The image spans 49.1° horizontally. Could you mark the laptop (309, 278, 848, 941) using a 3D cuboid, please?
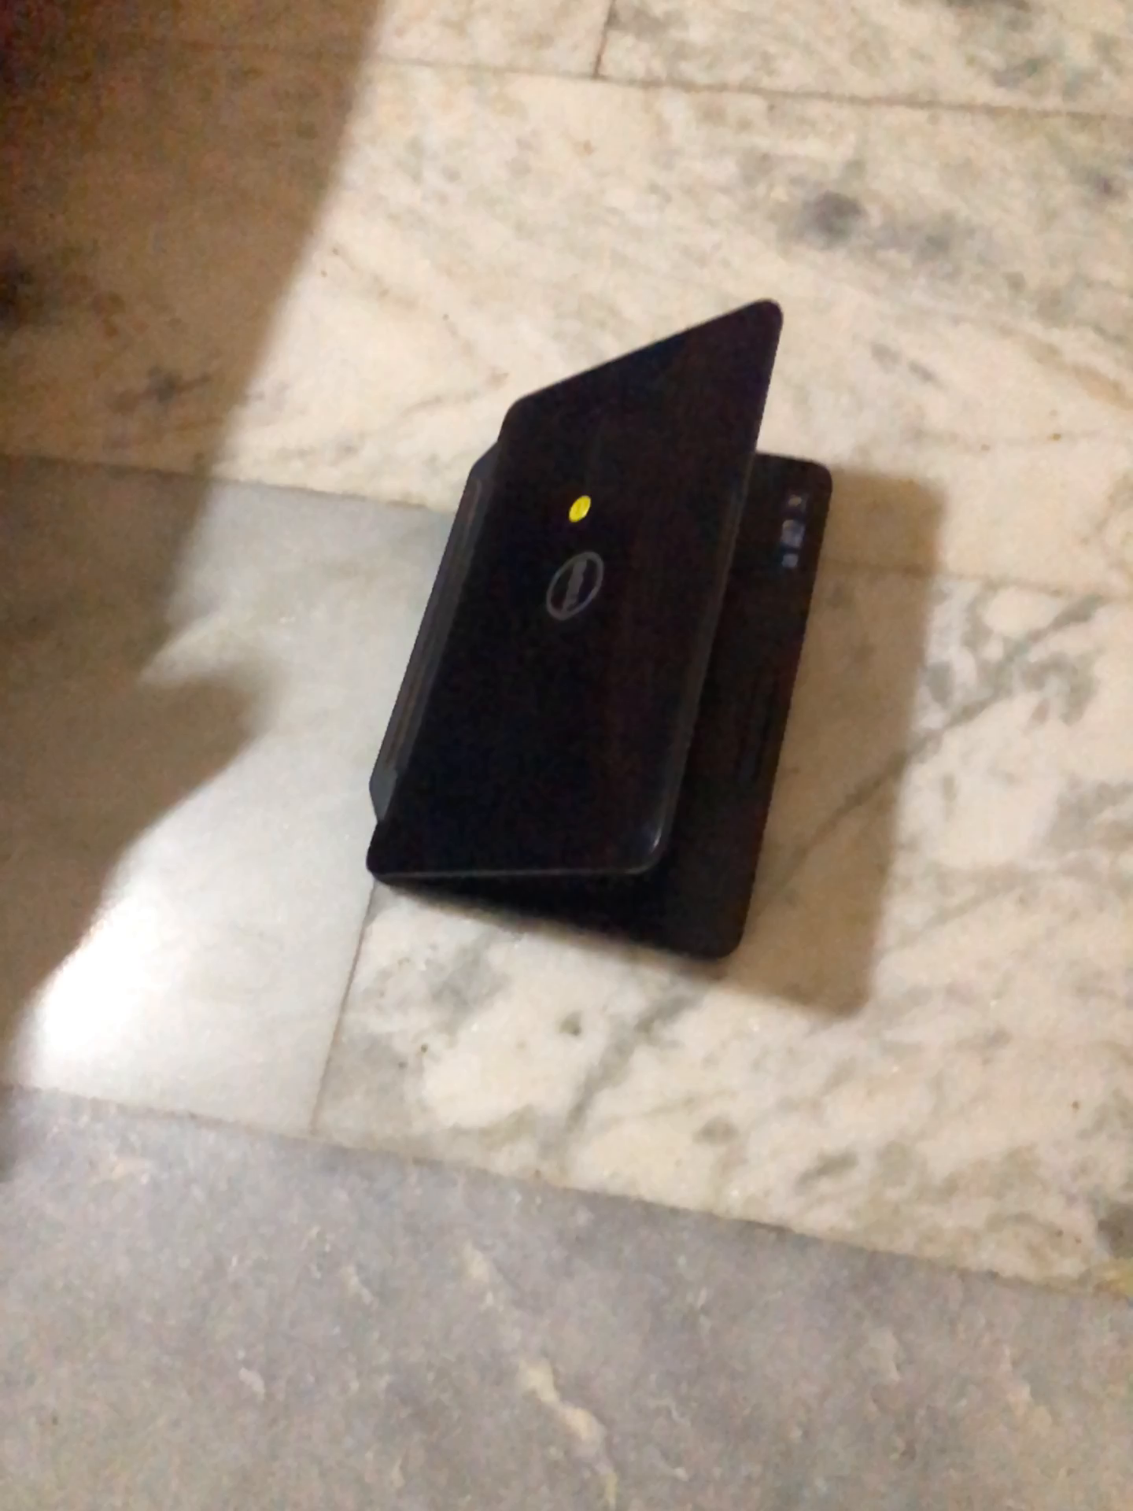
[{"bbox_3d":[0.023,-0.094,0.768,0.234,0.161,0.351,10,67,9],"label":"laptop"}]
